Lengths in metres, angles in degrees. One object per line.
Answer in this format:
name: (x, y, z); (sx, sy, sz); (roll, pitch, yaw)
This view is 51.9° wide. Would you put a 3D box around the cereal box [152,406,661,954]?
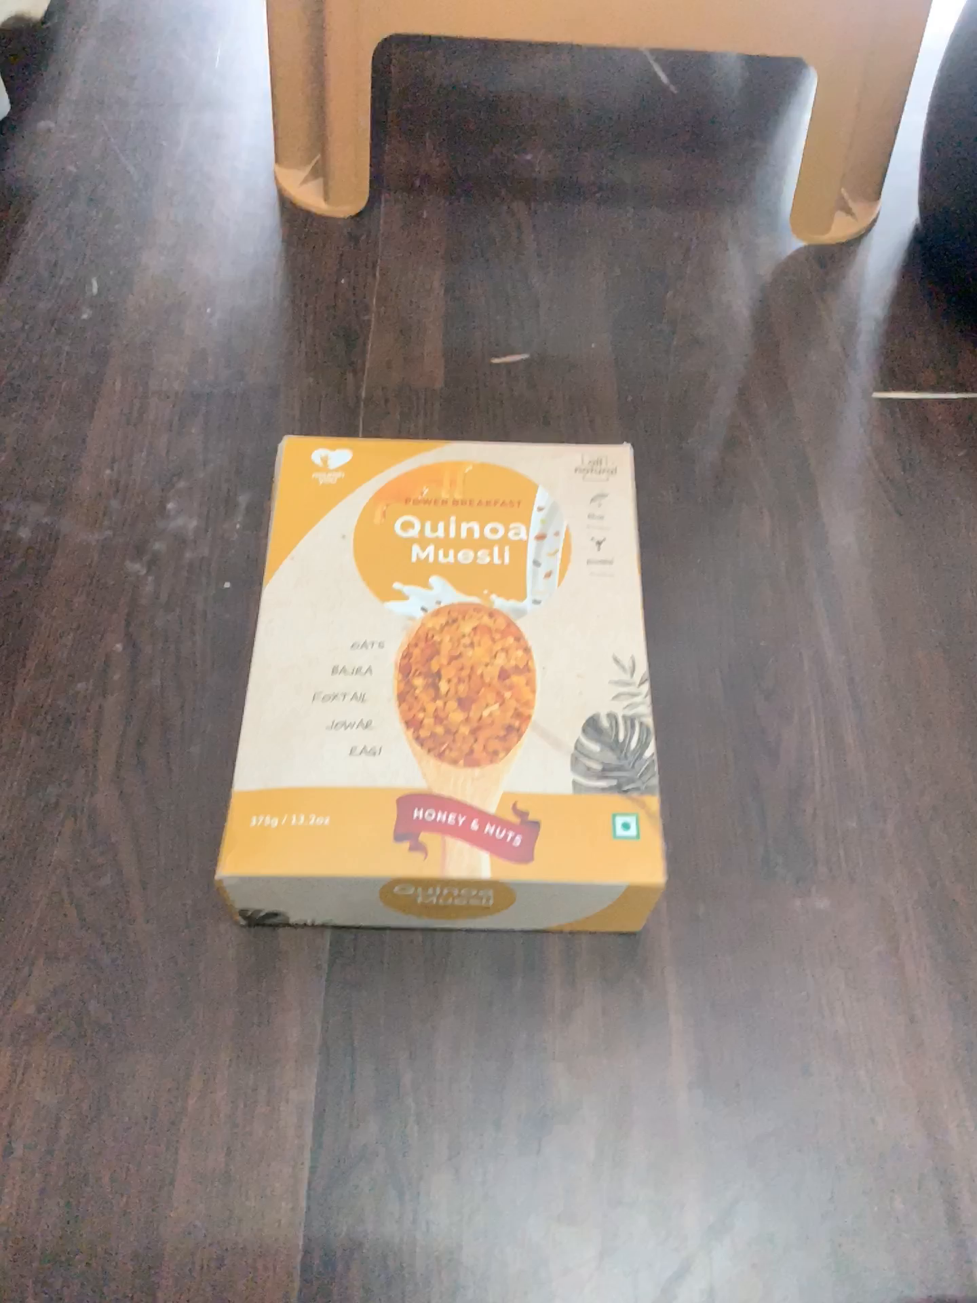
cereal box: (-0.026, 0.004, 0.416); (0.170, 0.060, 0.220); (1, 60, -1)
